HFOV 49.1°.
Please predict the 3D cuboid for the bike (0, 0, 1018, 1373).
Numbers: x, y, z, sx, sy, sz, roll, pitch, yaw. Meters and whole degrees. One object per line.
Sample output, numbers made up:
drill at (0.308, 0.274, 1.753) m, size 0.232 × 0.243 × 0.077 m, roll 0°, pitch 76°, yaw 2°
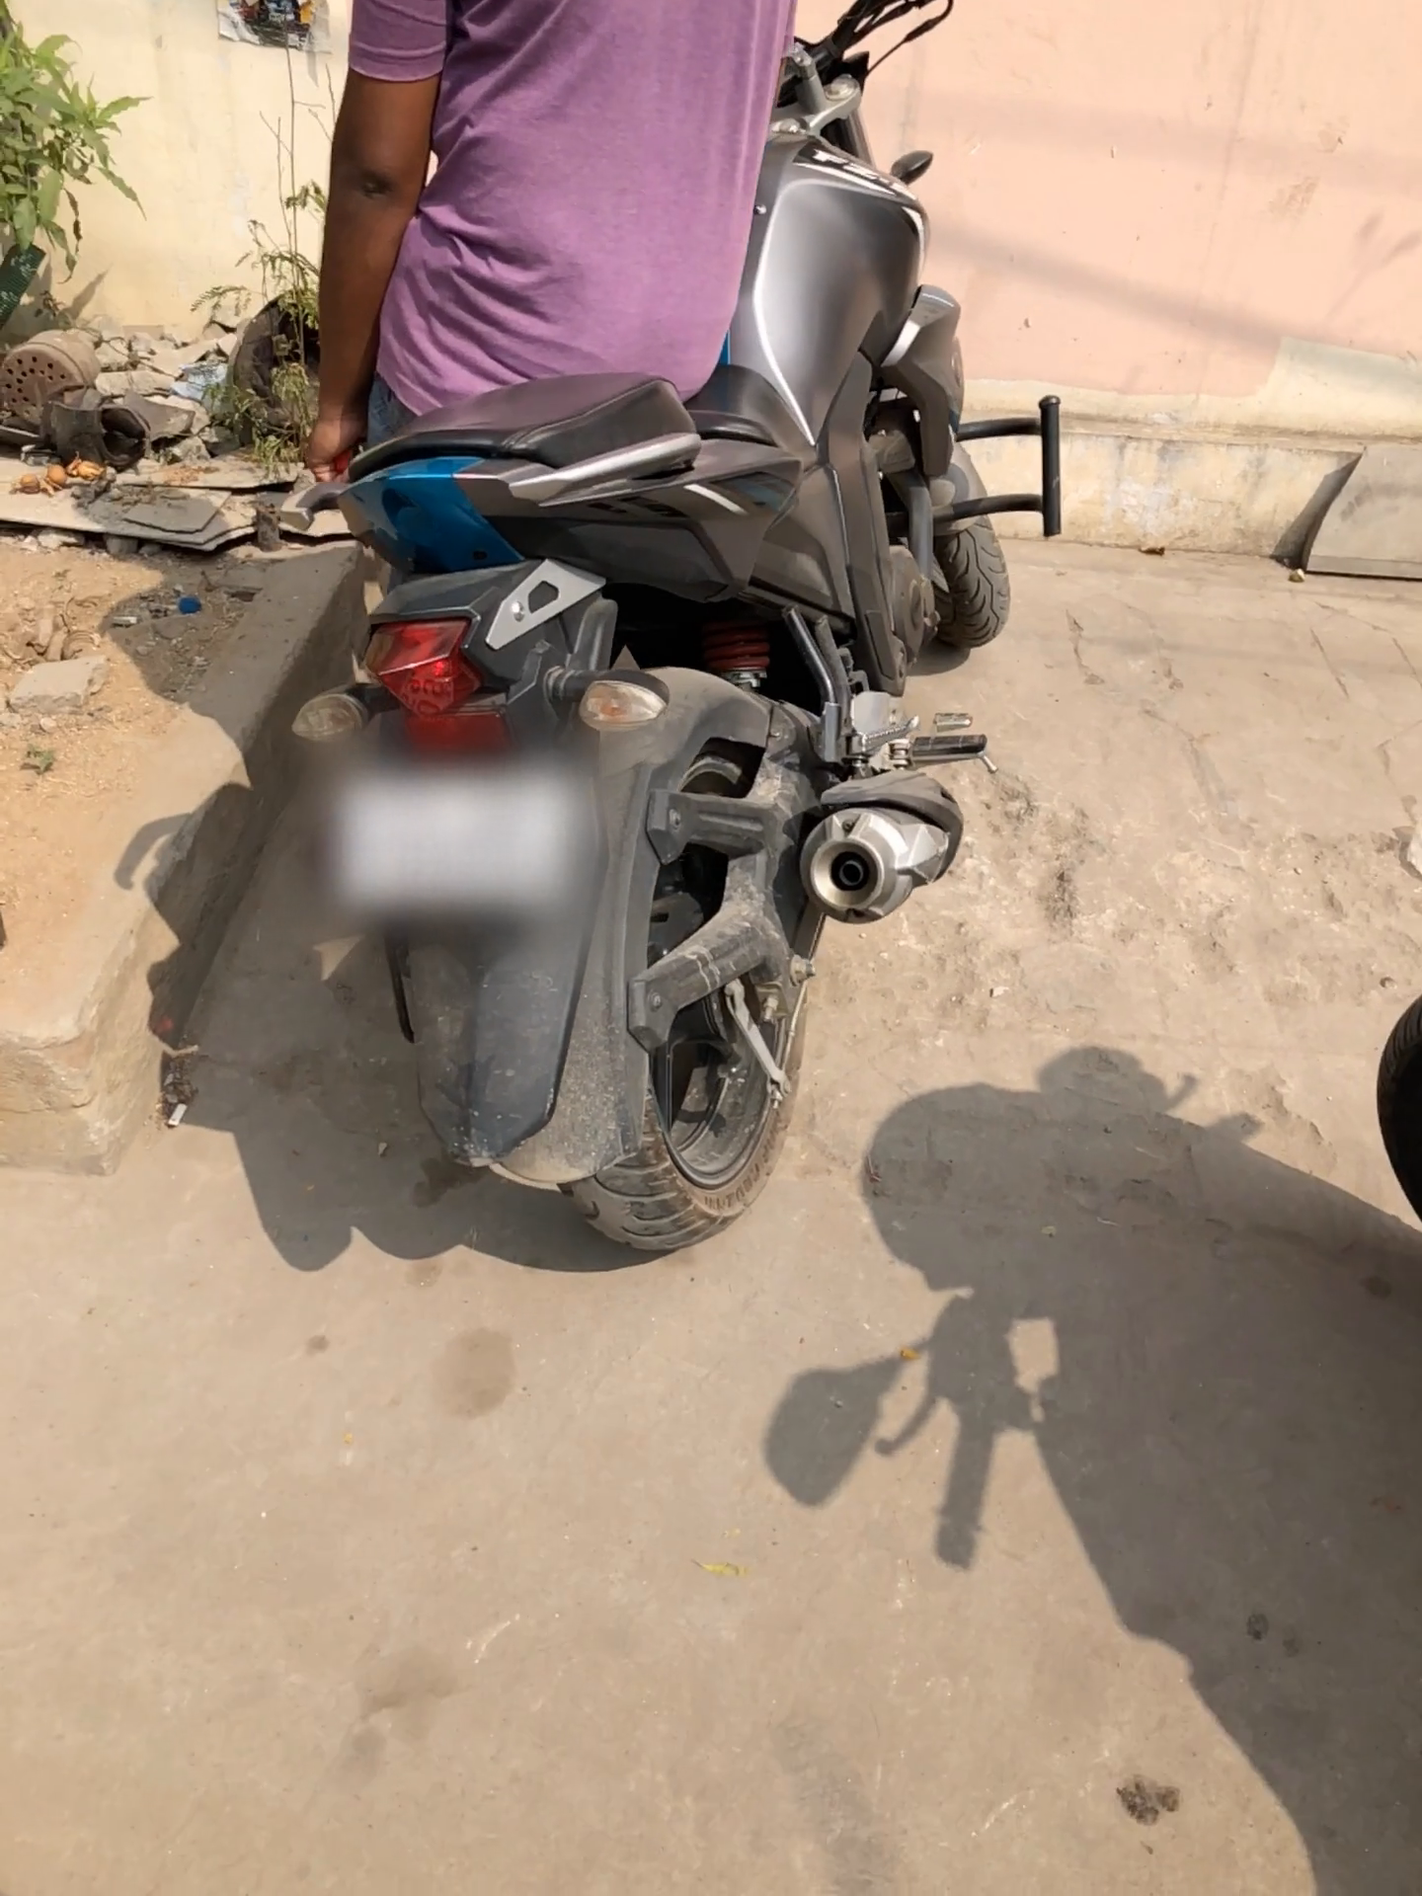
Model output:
bike at (-0.118, -0.765, 1.972) m, size 0.808 × 1.221 × 1.838 m, roll 7°, pitch 40°, yaw 6°
